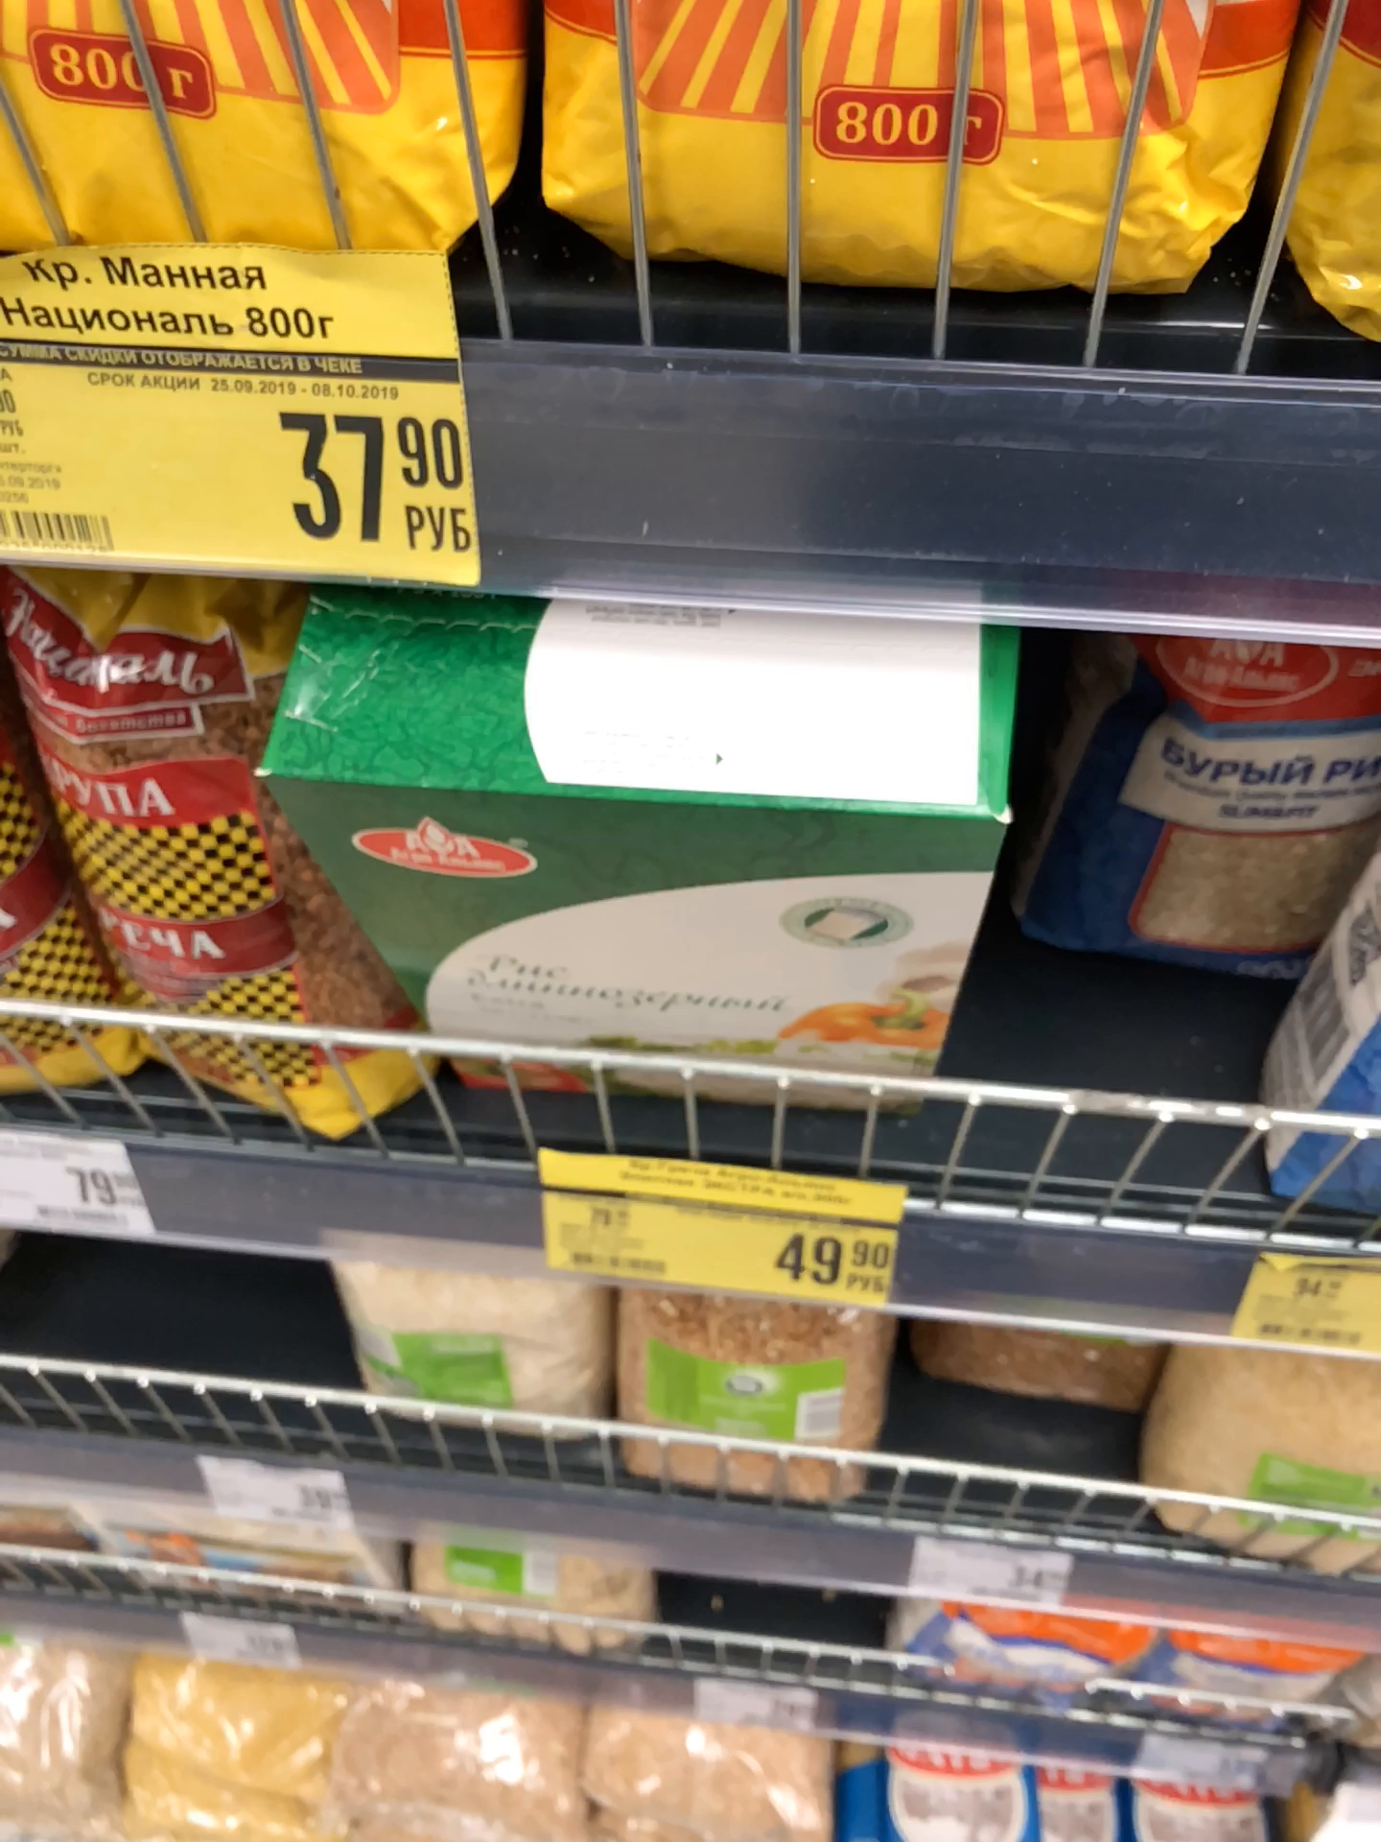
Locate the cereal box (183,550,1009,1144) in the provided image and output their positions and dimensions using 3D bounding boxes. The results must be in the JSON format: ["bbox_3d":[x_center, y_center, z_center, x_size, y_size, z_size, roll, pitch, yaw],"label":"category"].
[{"bbox_3d":[-0.010,-0.002,0.367,0.140,0.209,0.050,4,69,5],"label":"cereal box"}]
